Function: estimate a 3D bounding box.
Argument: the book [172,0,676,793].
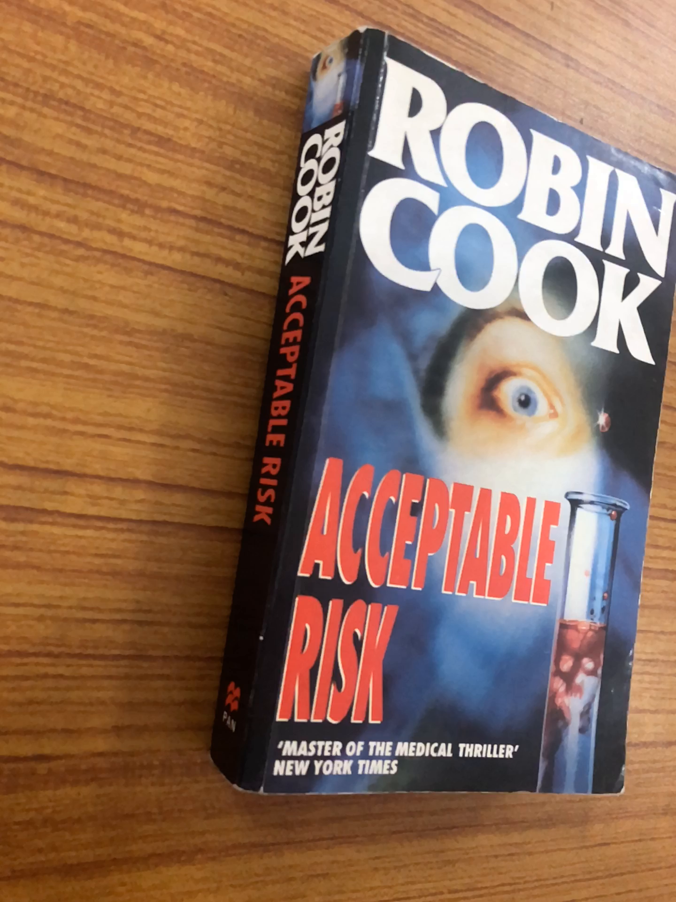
[{"bbox_3d":[0.031,-0.005,0.201,0.110,0.040,0.170,13,85,-27],"label":"book"}]
